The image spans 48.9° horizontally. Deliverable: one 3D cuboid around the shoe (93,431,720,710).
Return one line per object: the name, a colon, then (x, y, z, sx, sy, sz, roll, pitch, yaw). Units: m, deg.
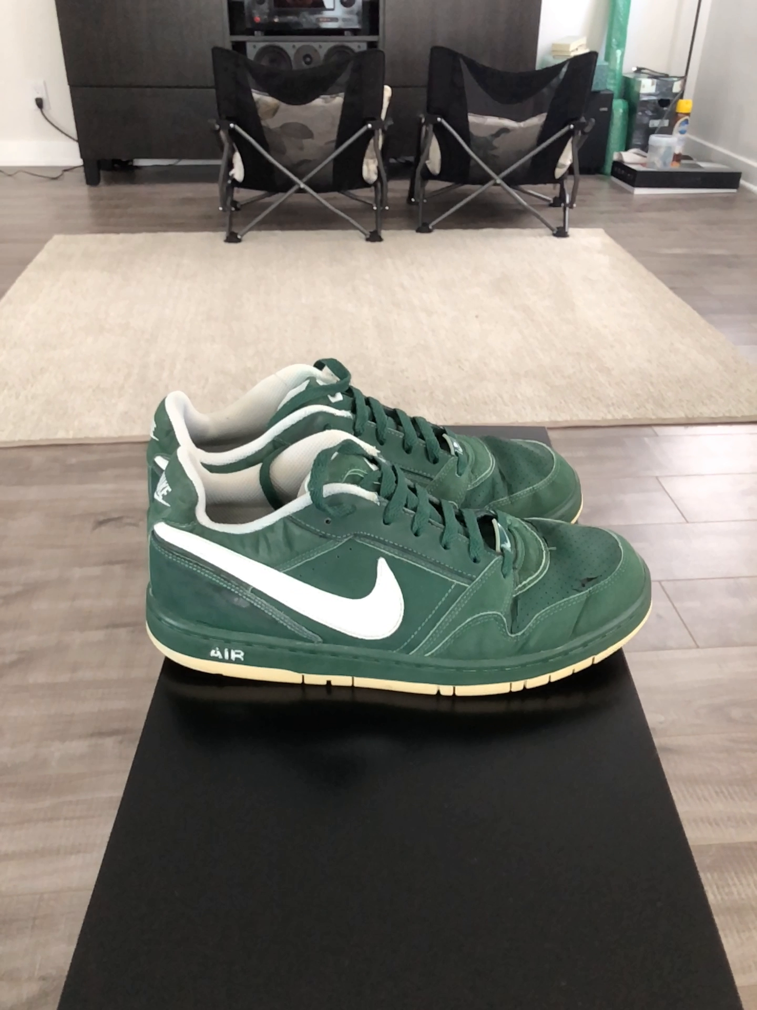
shoe: (0.012, 0.034, 0.455, 0.292, 0.100, 0.100, 3, 33, -3)

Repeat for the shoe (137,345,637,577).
shoe: (0.002, -0.029, 0.537, 0.280, 0.100, 0.110, 1, 33, -5)
